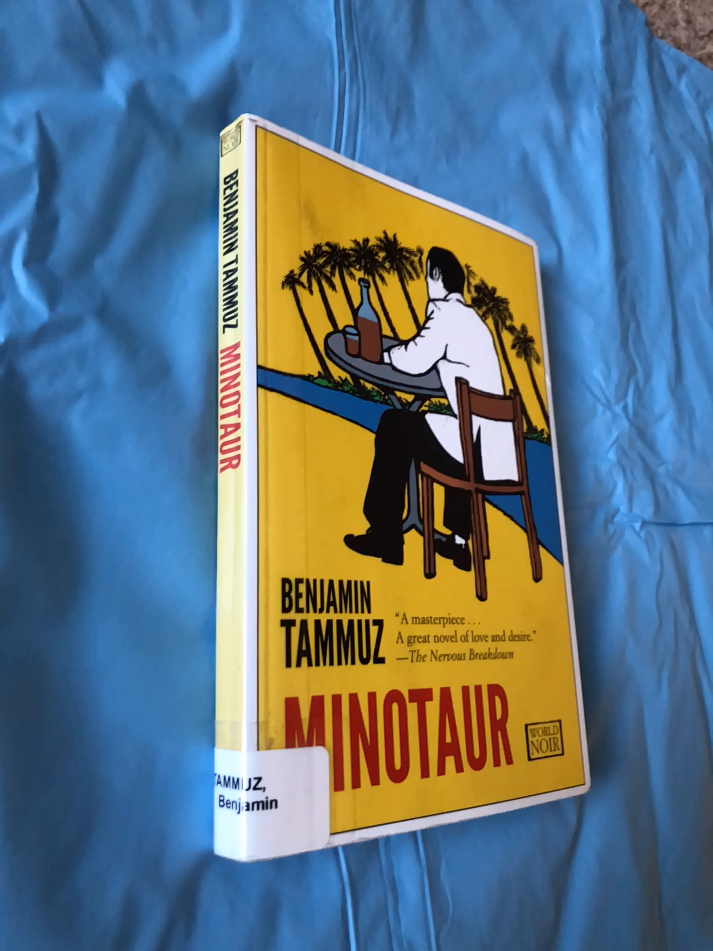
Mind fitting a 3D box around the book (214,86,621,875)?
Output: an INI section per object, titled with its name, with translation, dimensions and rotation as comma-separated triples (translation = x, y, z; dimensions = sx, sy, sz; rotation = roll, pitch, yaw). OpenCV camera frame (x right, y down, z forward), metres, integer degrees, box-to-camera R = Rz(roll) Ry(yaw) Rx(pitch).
[book]
translation = 0.023, 0.000, 0.264
dimensions = 0.142, 0.027, 0.212
rotation = 8, 74, -38
